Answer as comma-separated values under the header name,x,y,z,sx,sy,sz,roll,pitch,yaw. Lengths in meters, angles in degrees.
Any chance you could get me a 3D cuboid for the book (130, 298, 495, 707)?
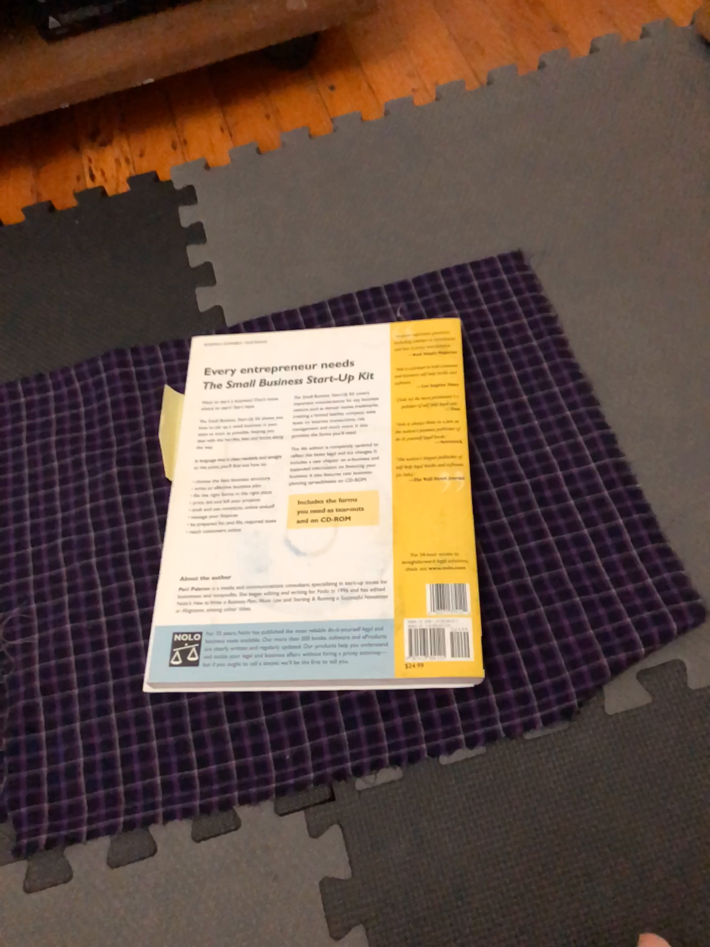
name,x,y,z,sx,sy,sz,roll,pitch,yaw
book,-0.025,0.009,0.574,0.230,0.030,0.311,-2,61,6
